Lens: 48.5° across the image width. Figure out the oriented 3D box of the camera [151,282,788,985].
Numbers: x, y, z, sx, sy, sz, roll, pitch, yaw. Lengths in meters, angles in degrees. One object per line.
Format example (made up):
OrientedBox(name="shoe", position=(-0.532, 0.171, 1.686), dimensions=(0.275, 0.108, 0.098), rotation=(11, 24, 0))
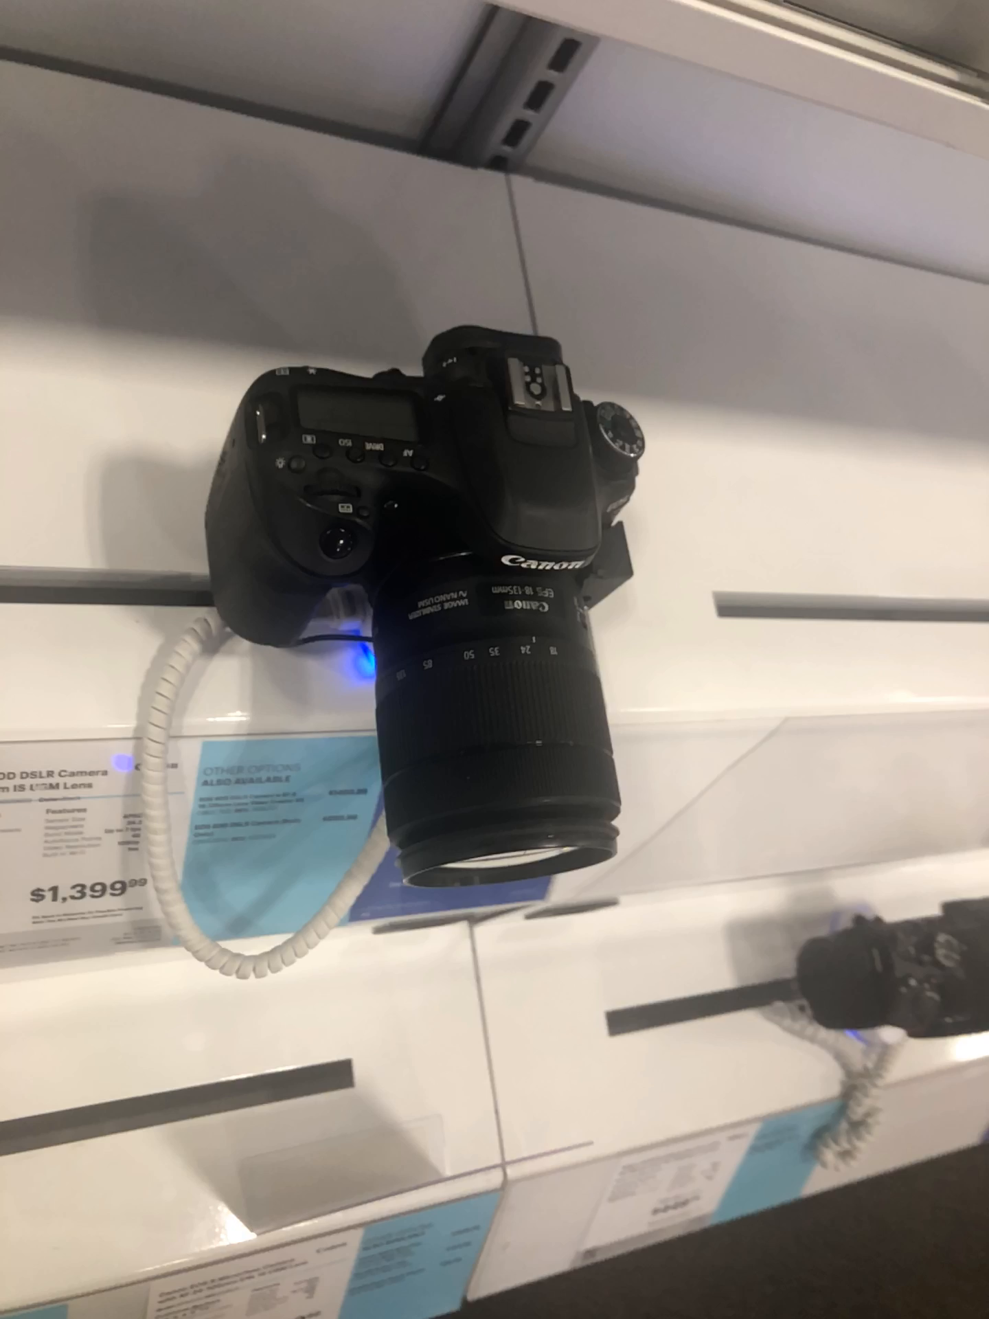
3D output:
OrientedBox(name="camera", position=(-0.019, -0.002, 0.359), dimensions=(0.151, 0.110, 0.180), rotation=(-1, 71, -28))
